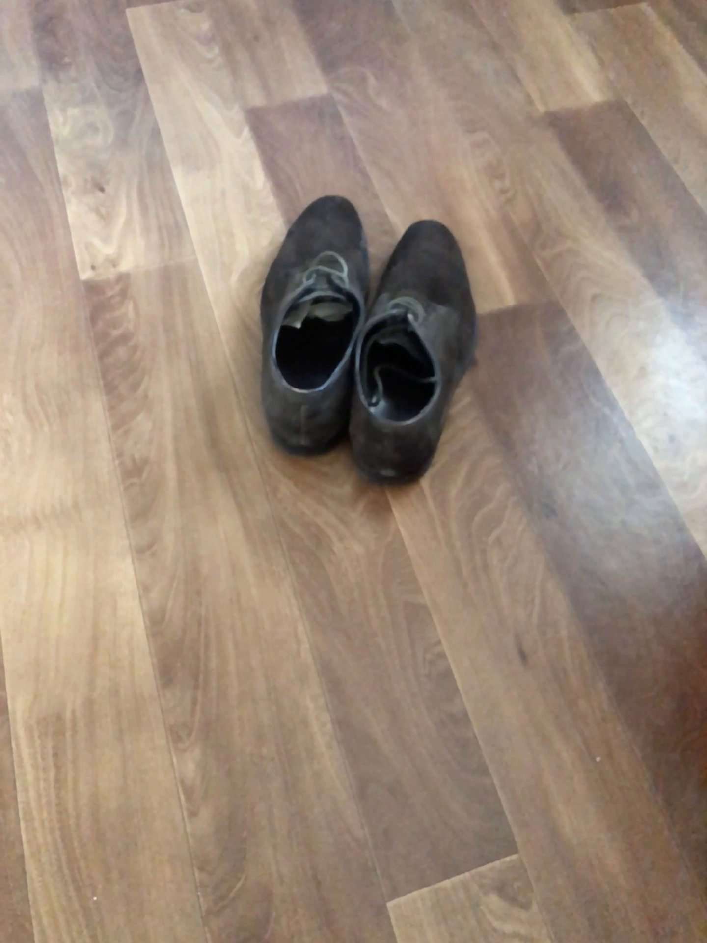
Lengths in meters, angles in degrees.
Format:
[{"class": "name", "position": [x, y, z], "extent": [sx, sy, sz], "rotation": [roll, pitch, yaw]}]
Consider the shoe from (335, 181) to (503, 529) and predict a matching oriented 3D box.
[{"class": "shoe", "position": [0.064, -0.115, 0.723], "extent": [0.120, 0.100, 0.311], "rotation": [7, 61, 2]}]

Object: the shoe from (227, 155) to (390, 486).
[{"class": "shoe", "position": [-0.034, -0.150, 0.742], "extent": [0.120, 0.100, 0.311], "rotation": [4, 61, 0]}]
